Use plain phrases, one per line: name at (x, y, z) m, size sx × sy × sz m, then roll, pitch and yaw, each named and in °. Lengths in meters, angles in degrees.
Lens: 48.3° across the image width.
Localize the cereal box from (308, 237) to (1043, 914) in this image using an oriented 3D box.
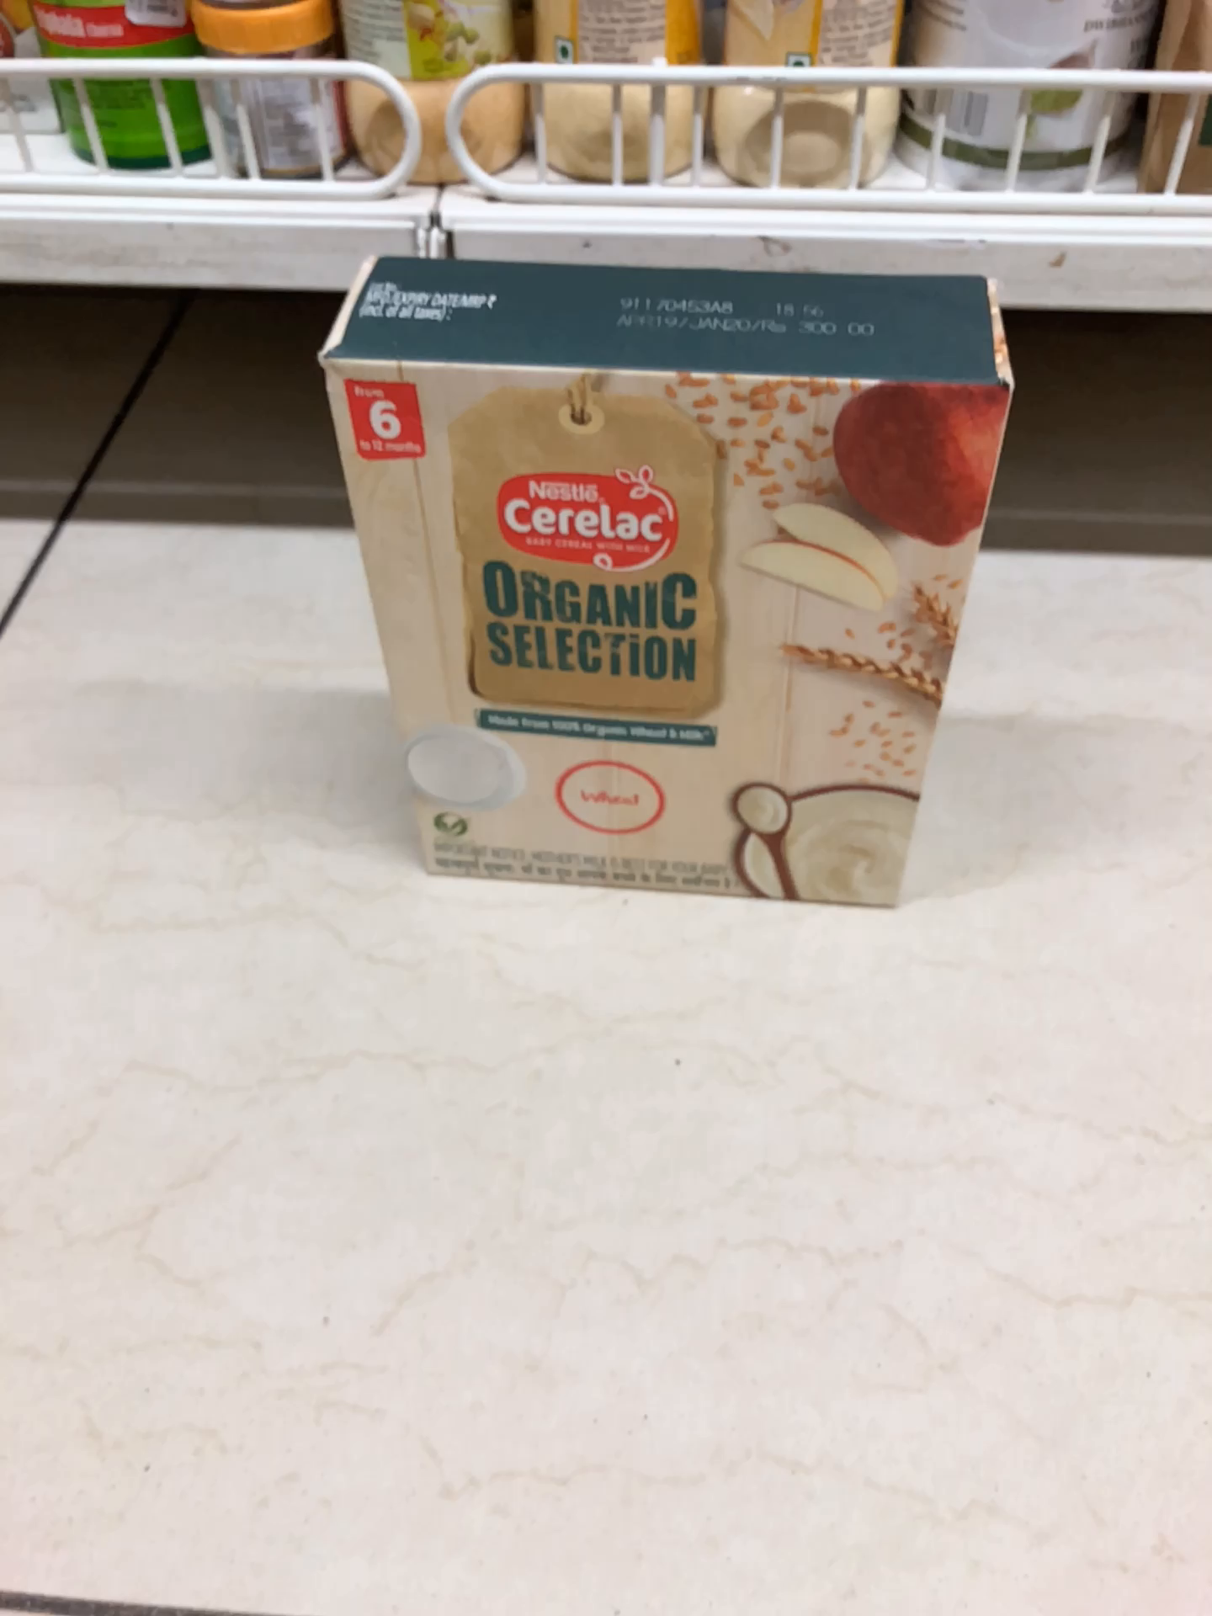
cereal box at (0.018, -0.054, 0.381) m, size 0.160 × 0.189 × 0.050 m, roll 4°, pitch 48°, yaw 5°
